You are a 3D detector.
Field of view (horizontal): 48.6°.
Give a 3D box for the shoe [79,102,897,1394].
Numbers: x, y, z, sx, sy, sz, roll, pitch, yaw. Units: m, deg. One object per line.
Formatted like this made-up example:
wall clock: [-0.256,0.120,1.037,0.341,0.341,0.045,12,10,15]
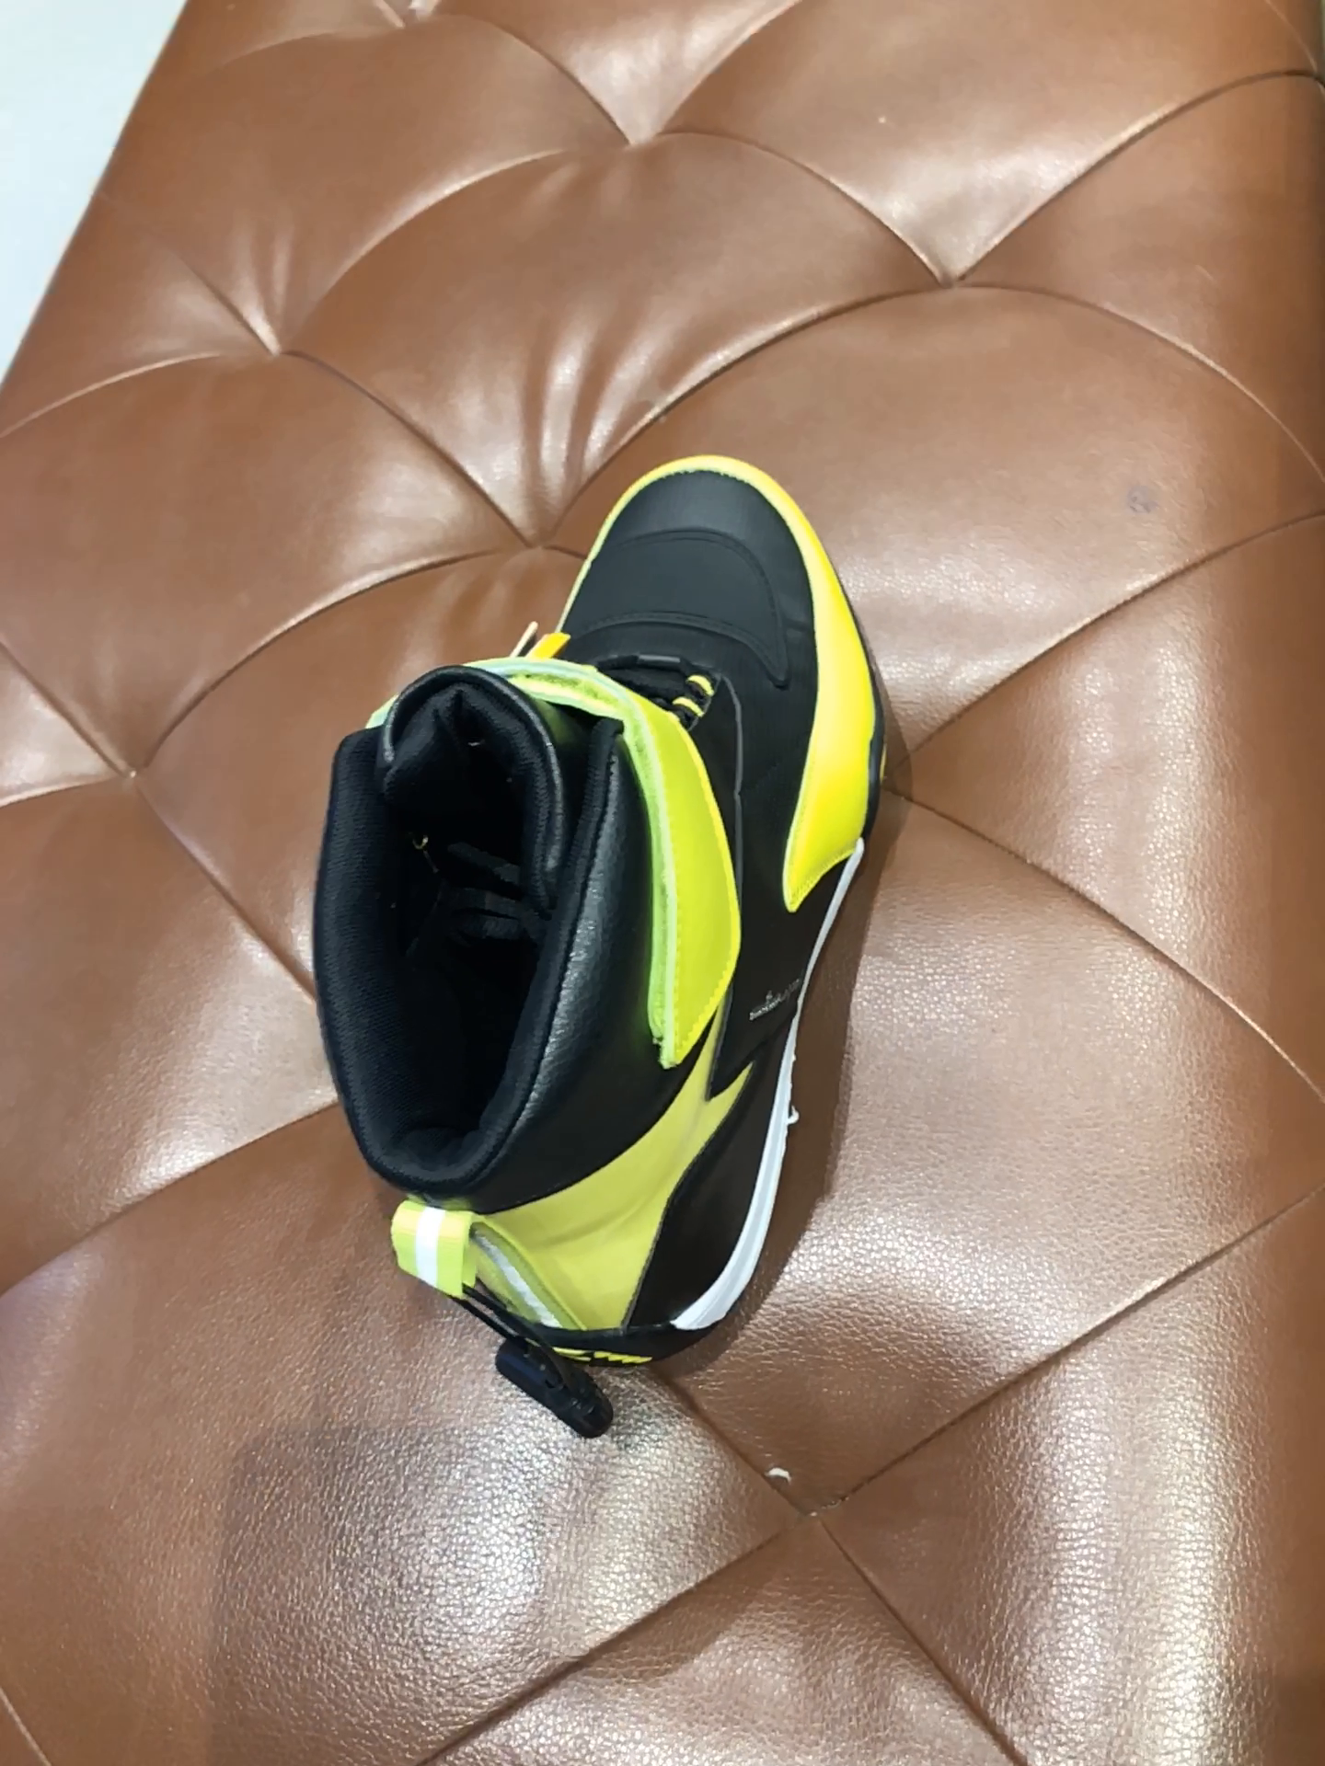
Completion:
shoe: [-0.012,-0.028,0.384,0.116,0.173,0.275,0,62,15]
